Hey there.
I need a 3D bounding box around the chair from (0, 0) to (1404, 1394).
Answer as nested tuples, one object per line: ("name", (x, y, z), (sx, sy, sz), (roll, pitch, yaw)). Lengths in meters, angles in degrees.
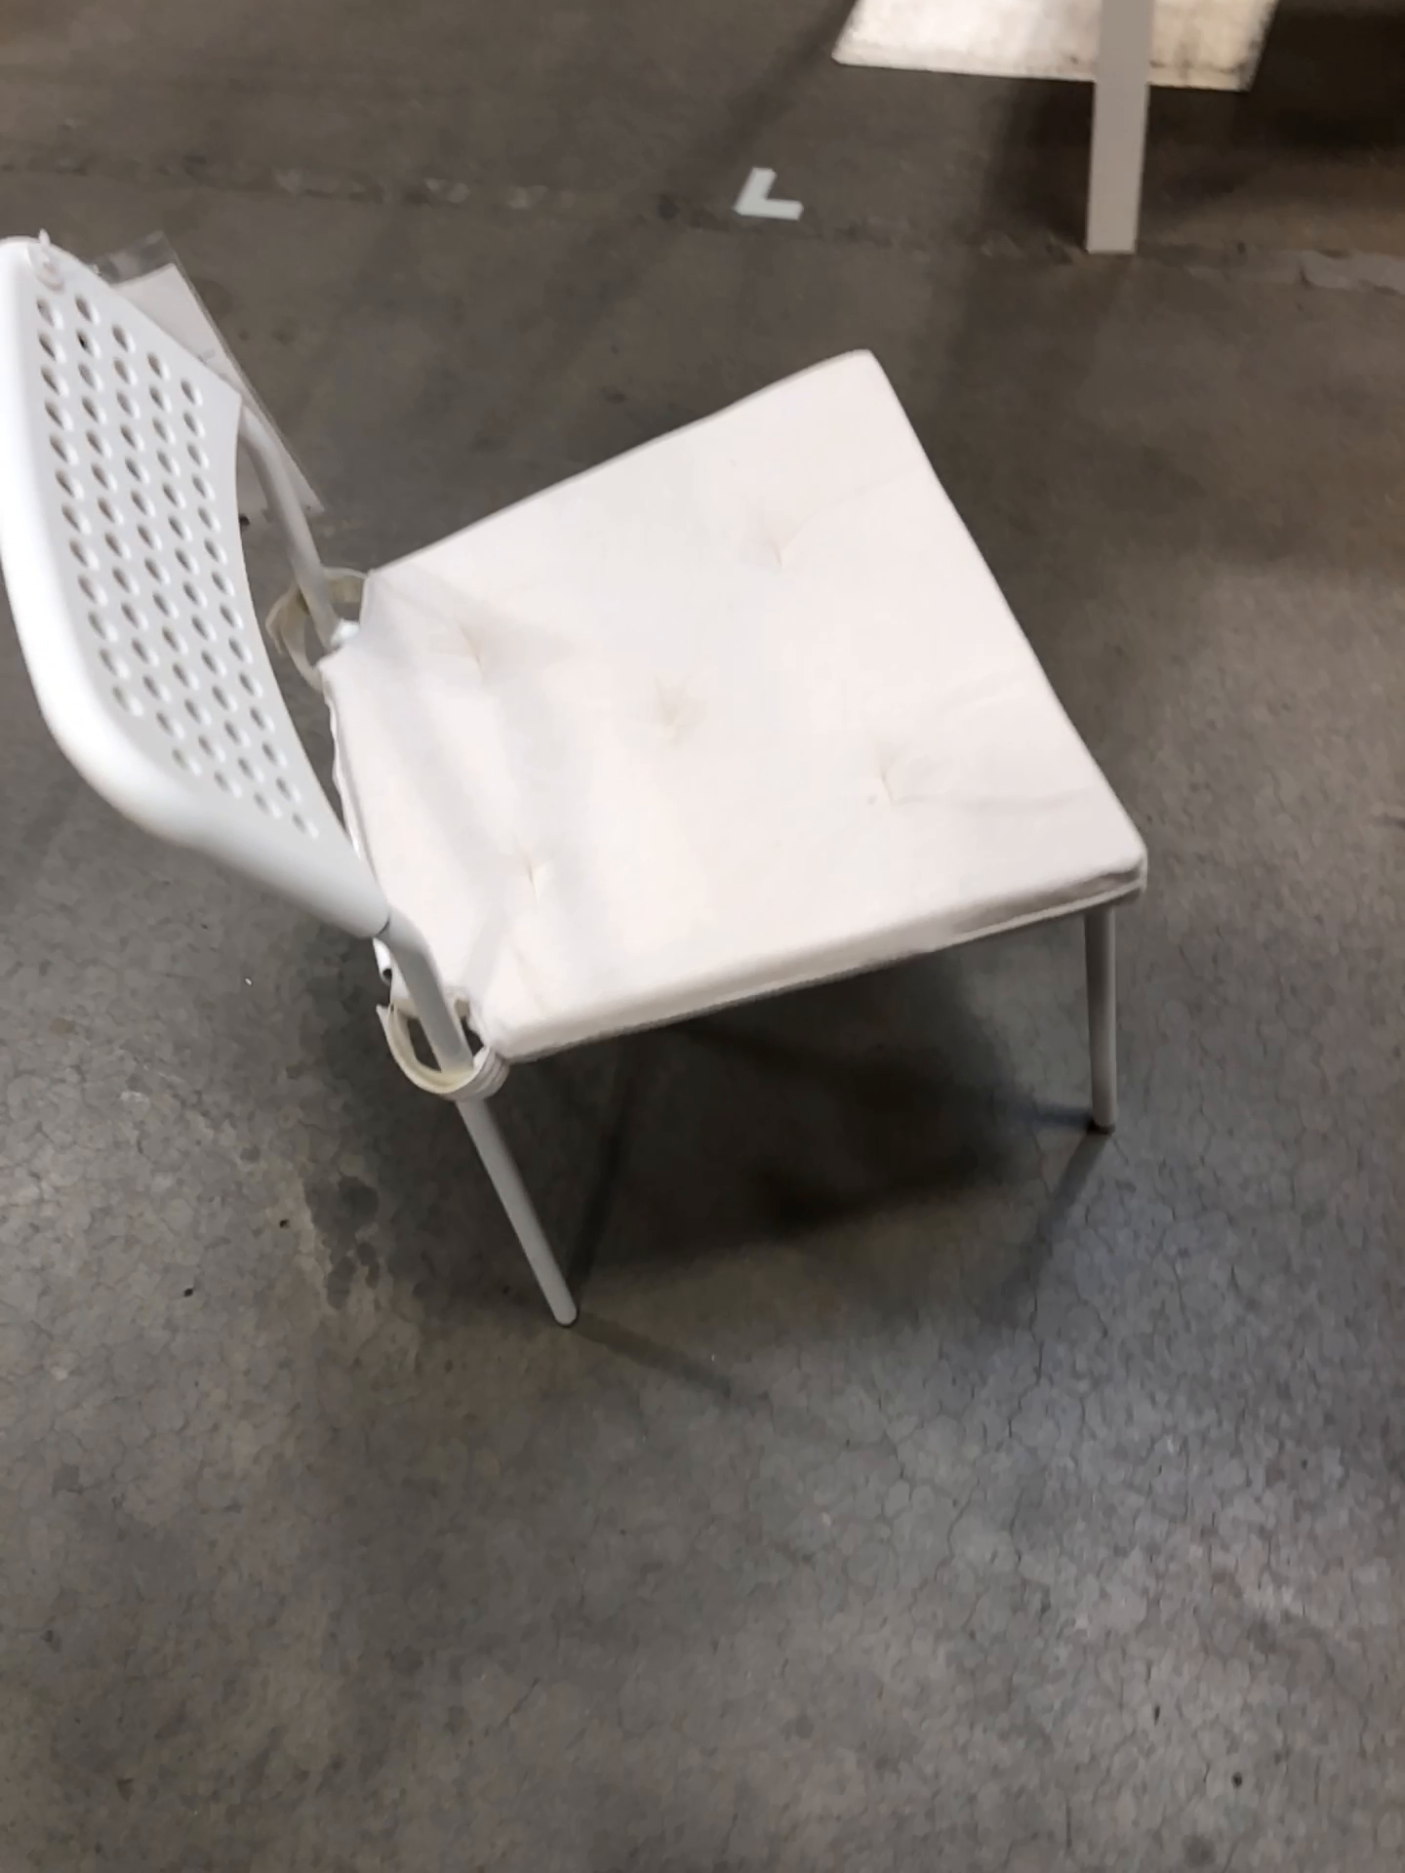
("chair", (-0.010, -0.124, 0.960), (0.530, 0.738, 0.481), (-22, 60, -1))
